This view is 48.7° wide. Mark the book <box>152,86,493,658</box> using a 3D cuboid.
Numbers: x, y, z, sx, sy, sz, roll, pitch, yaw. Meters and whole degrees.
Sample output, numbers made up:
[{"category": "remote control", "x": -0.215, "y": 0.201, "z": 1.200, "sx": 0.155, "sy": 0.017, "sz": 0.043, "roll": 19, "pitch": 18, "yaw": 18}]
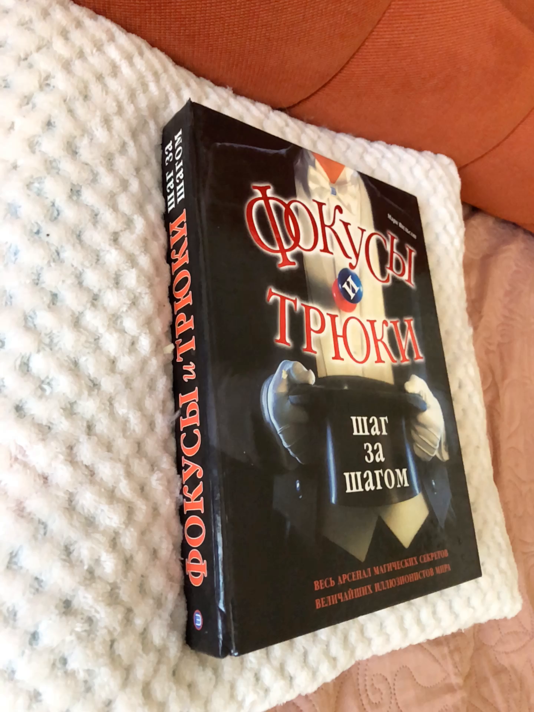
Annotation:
[{"category": "book", "x": 0.038, "y": 0.004, "z": 0.351, "sx": 0.201, "sy": 0.040, "sz": 0.270, "roll": 6, "pitch": 72, "yaw": -41}]
